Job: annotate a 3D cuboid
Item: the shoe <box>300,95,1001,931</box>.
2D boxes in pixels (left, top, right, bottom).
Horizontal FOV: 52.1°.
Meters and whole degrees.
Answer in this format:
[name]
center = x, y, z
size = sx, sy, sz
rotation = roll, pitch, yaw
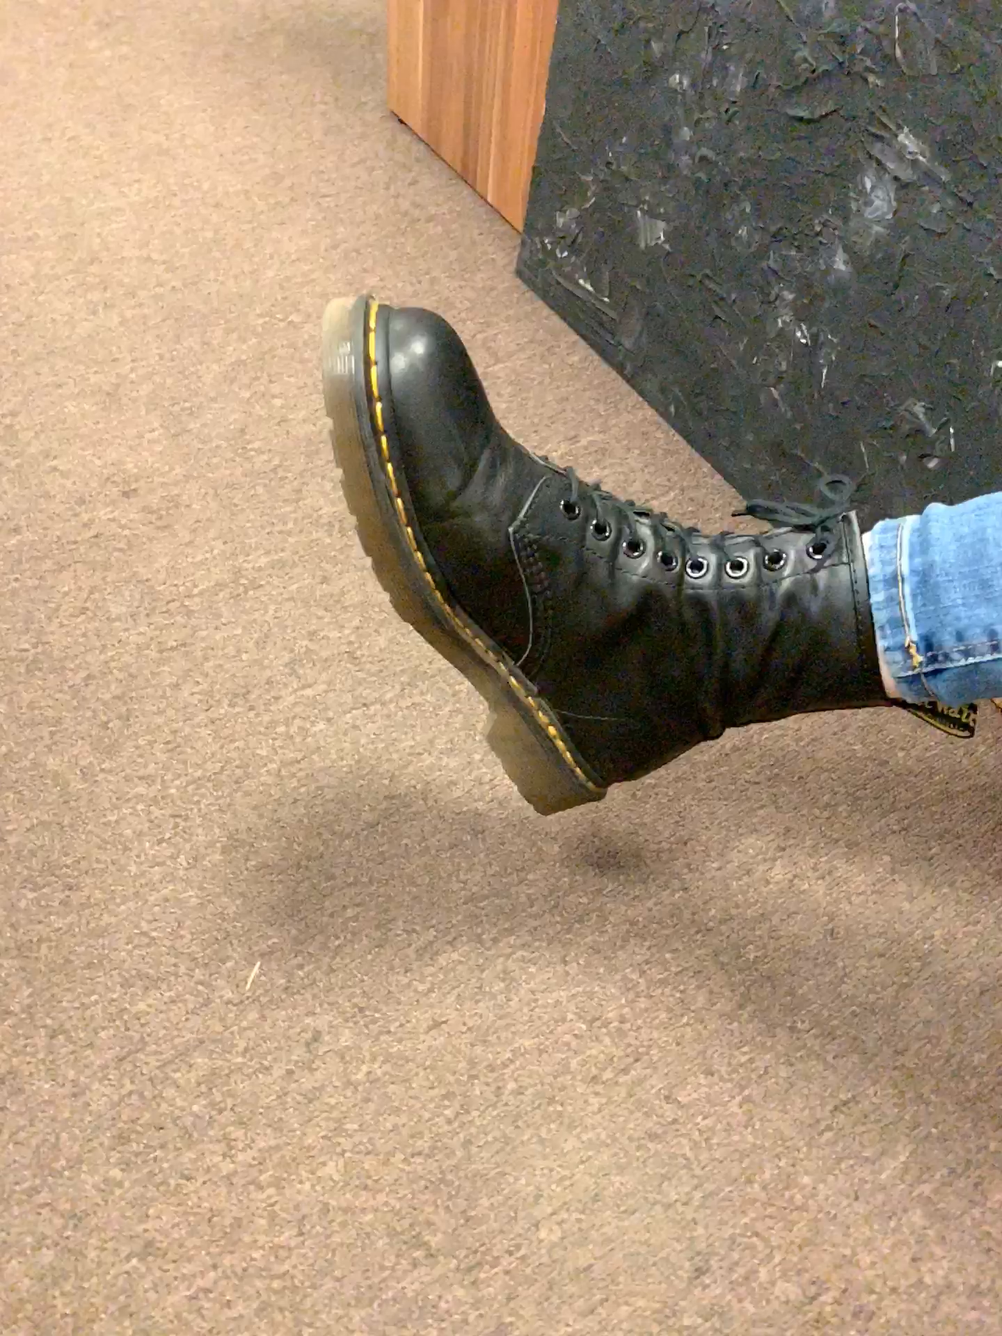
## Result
[shoe]
center = 0.111, -0.017, 0.478
size = 0.230, 0.369, 0.120
rotation = -11, 51, 19
